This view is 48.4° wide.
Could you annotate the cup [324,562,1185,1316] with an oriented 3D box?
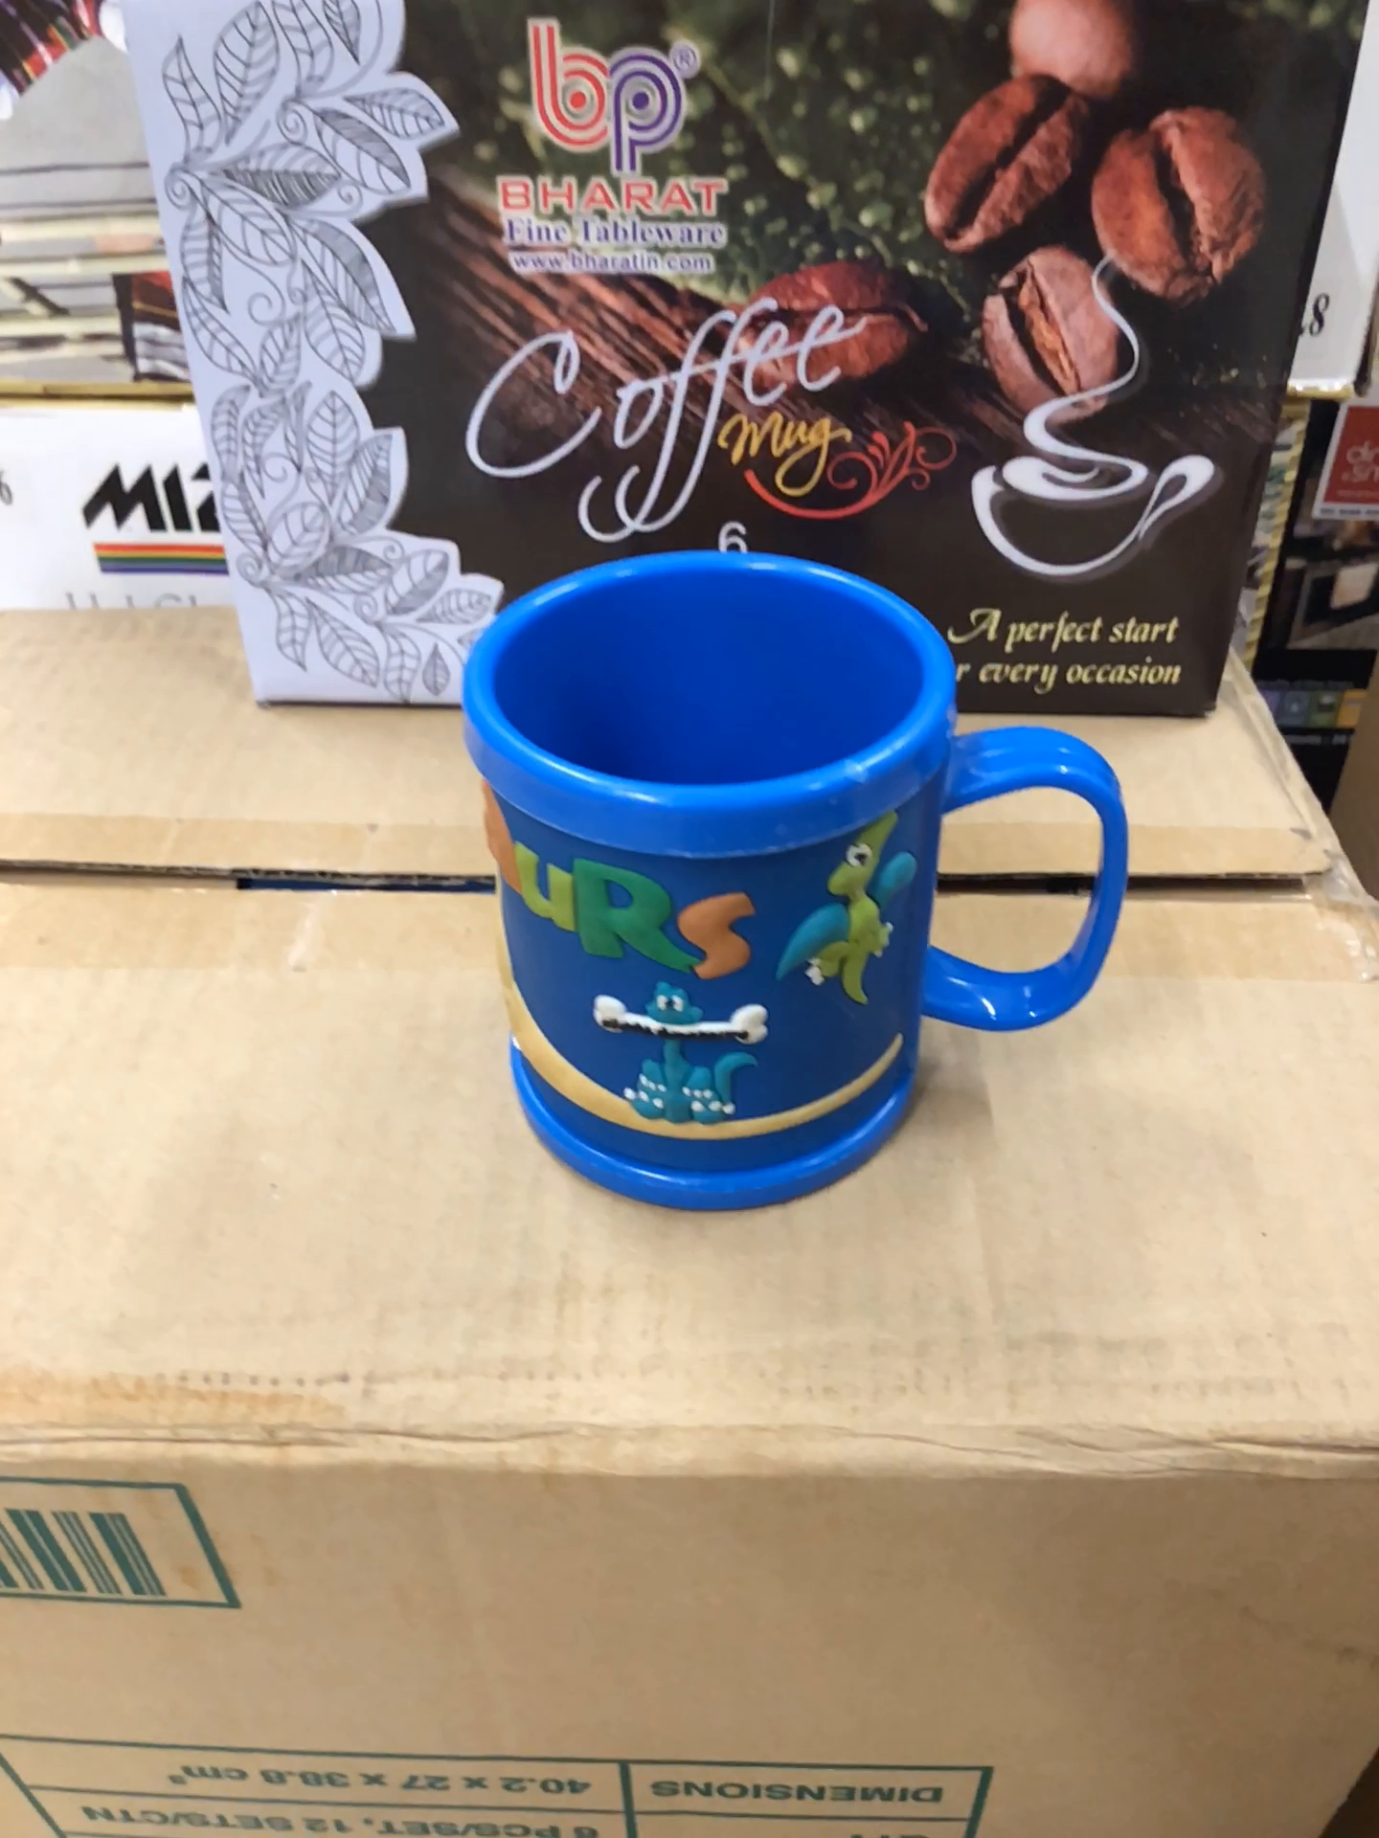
[{"bbox_3d":[0.014,0.001,0.276,0.120,0.089,0.091,4,40,6],"label":"cup"}]
